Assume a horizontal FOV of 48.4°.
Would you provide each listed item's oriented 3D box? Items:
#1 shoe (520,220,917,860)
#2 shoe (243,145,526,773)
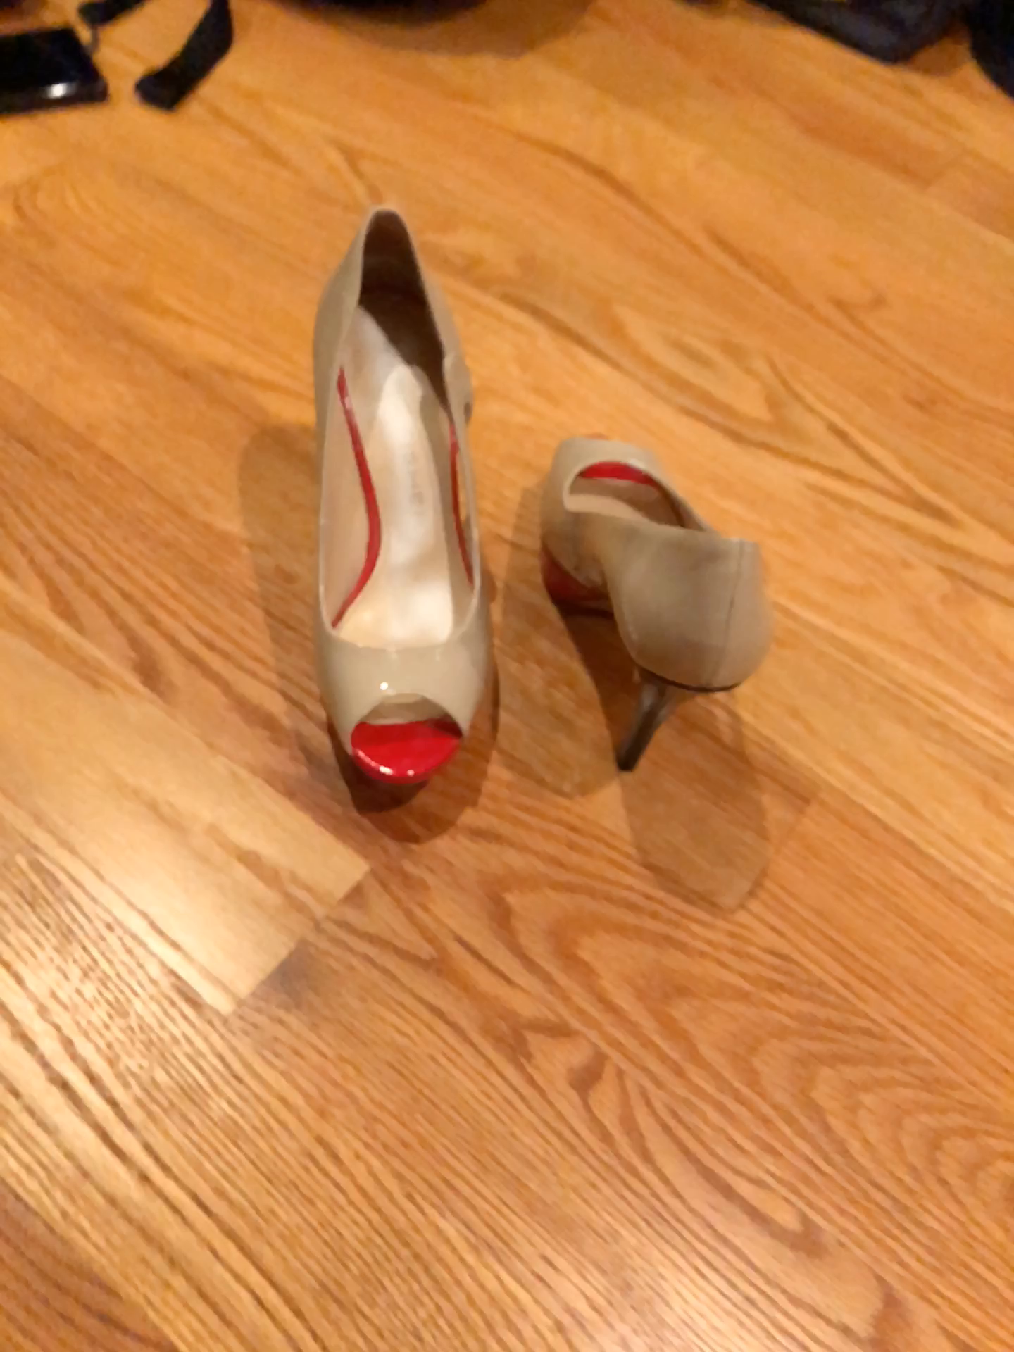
[{"bbox_3d":[0.069,-0.057,0.477,0.080,0.149,0.221,-1,56,-10],"label":"shoe"},{"bbox_3d":[-0.054,-0.088,0.453,0.085,0.129,0.216,1,55,-9],"label":"shoe"}]
